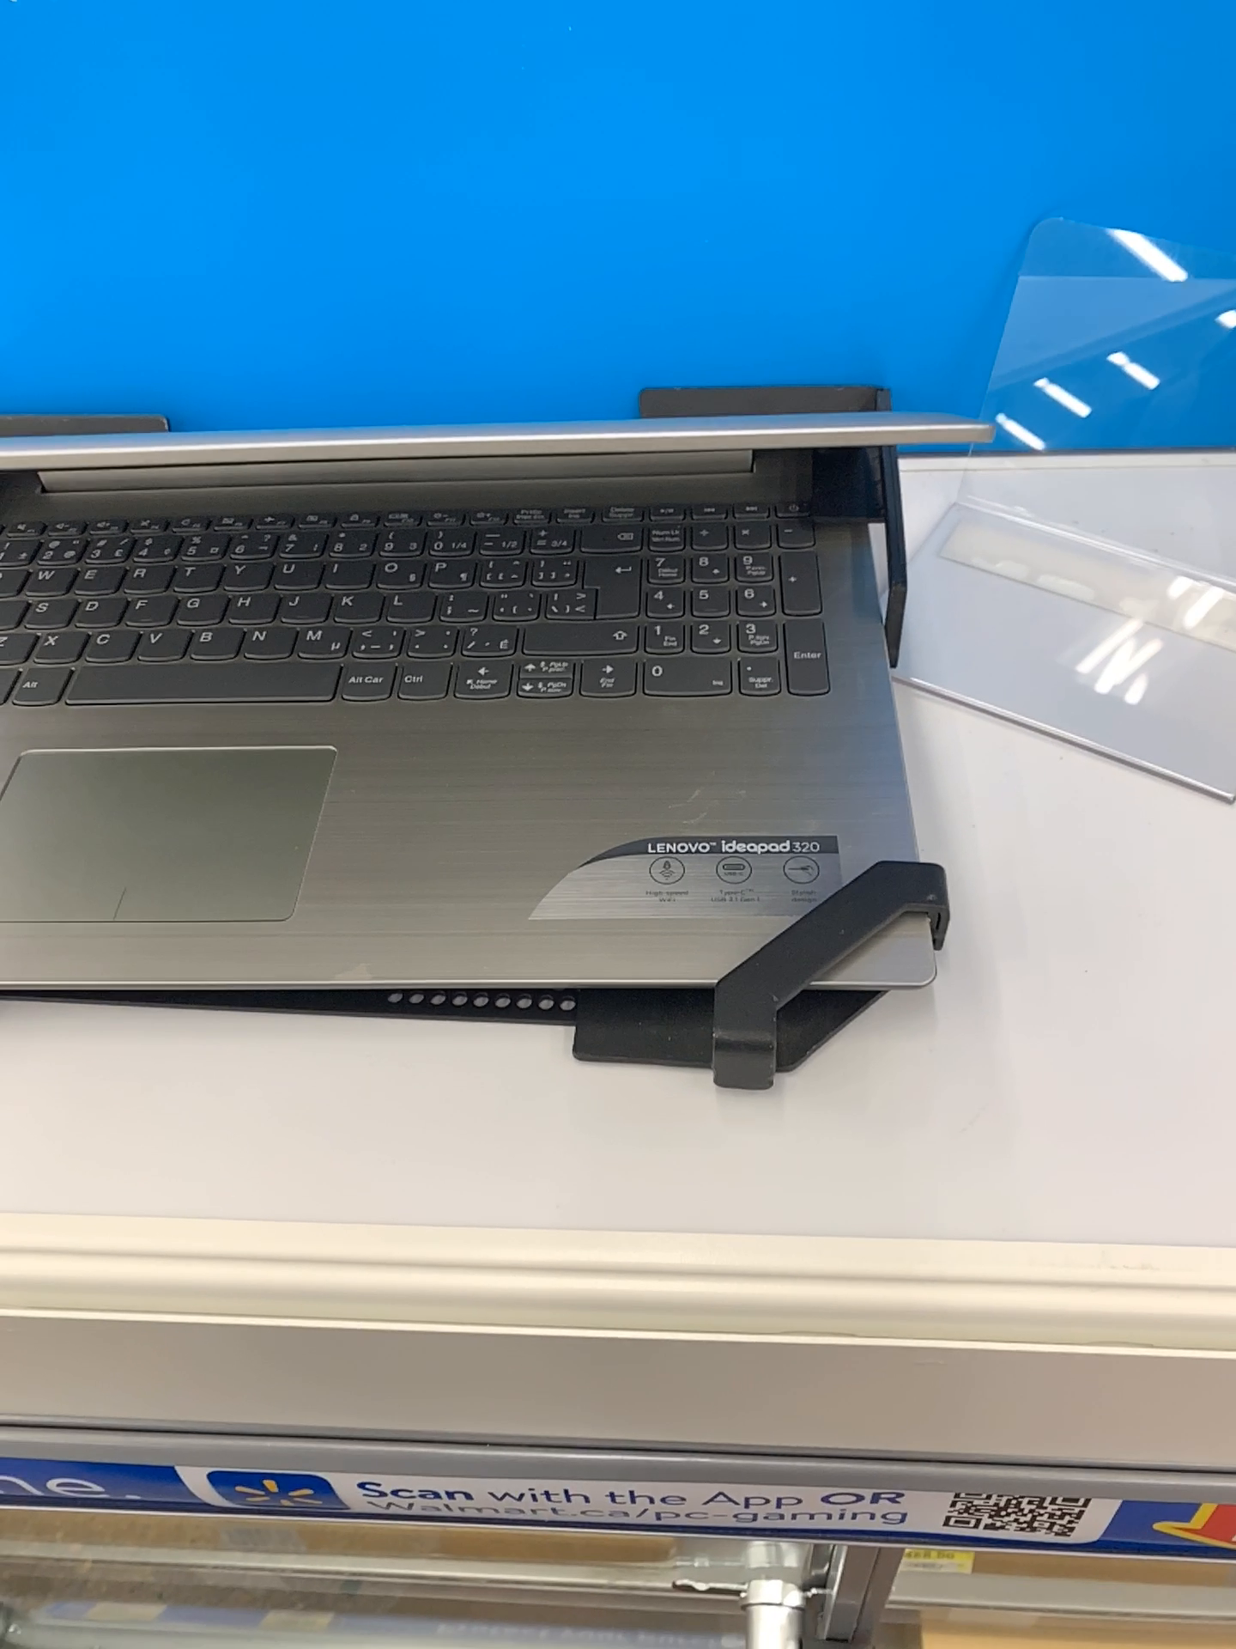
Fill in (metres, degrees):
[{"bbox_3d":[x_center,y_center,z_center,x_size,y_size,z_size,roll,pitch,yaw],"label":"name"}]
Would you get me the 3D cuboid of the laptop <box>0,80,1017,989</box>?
[{"bbox_3d":[-0.088,-0.086,0.341,0.326,0.115,0.230,-1,48,4],"label":"laptop"}]
